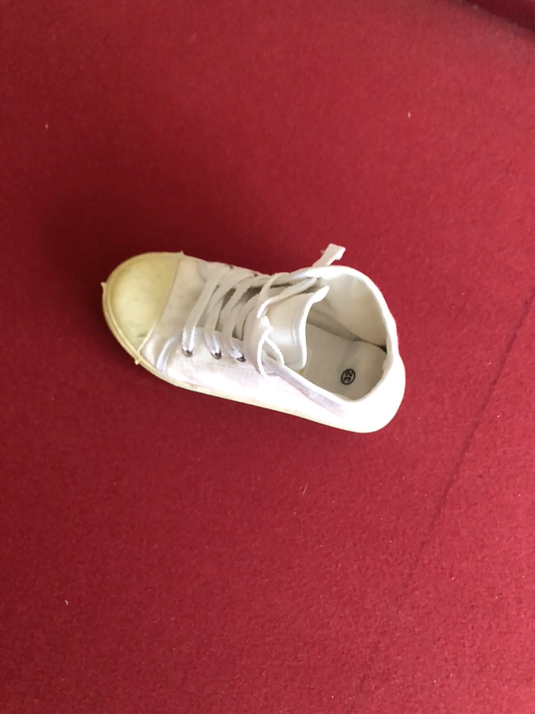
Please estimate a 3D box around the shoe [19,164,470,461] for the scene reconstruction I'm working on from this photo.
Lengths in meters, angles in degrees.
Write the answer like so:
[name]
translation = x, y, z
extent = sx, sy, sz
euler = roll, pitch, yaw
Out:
[shoe]
translation = -0.010, -0.020, 0.359
extent = 0.220, 0.090, 0.100
euler = 16, 76, 1
